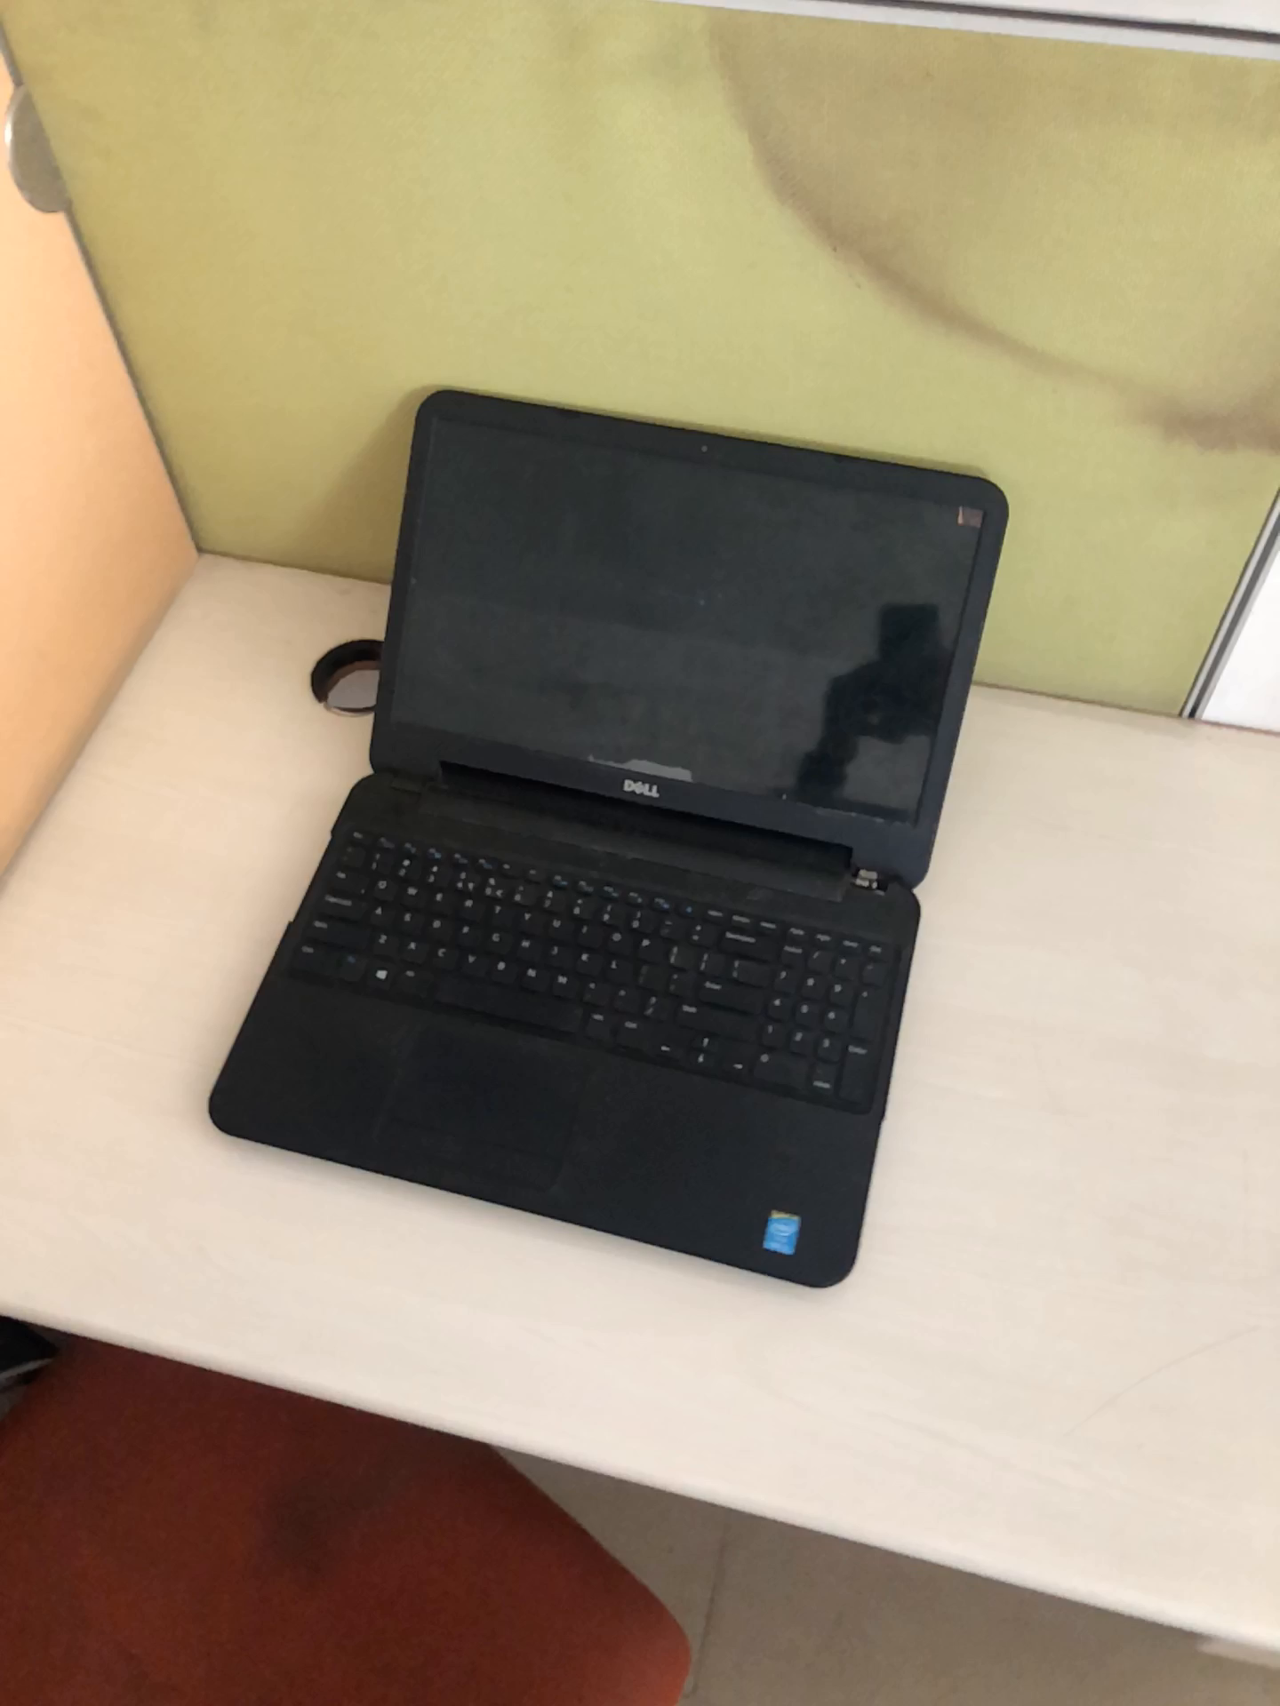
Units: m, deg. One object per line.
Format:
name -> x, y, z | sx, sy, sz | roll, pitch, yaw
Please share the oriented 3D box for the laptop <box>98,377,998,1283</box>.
laptop -> -0.019, -0.036, 0.795 | 0.355, 0.158, 0.428 | 12, 59, 9
